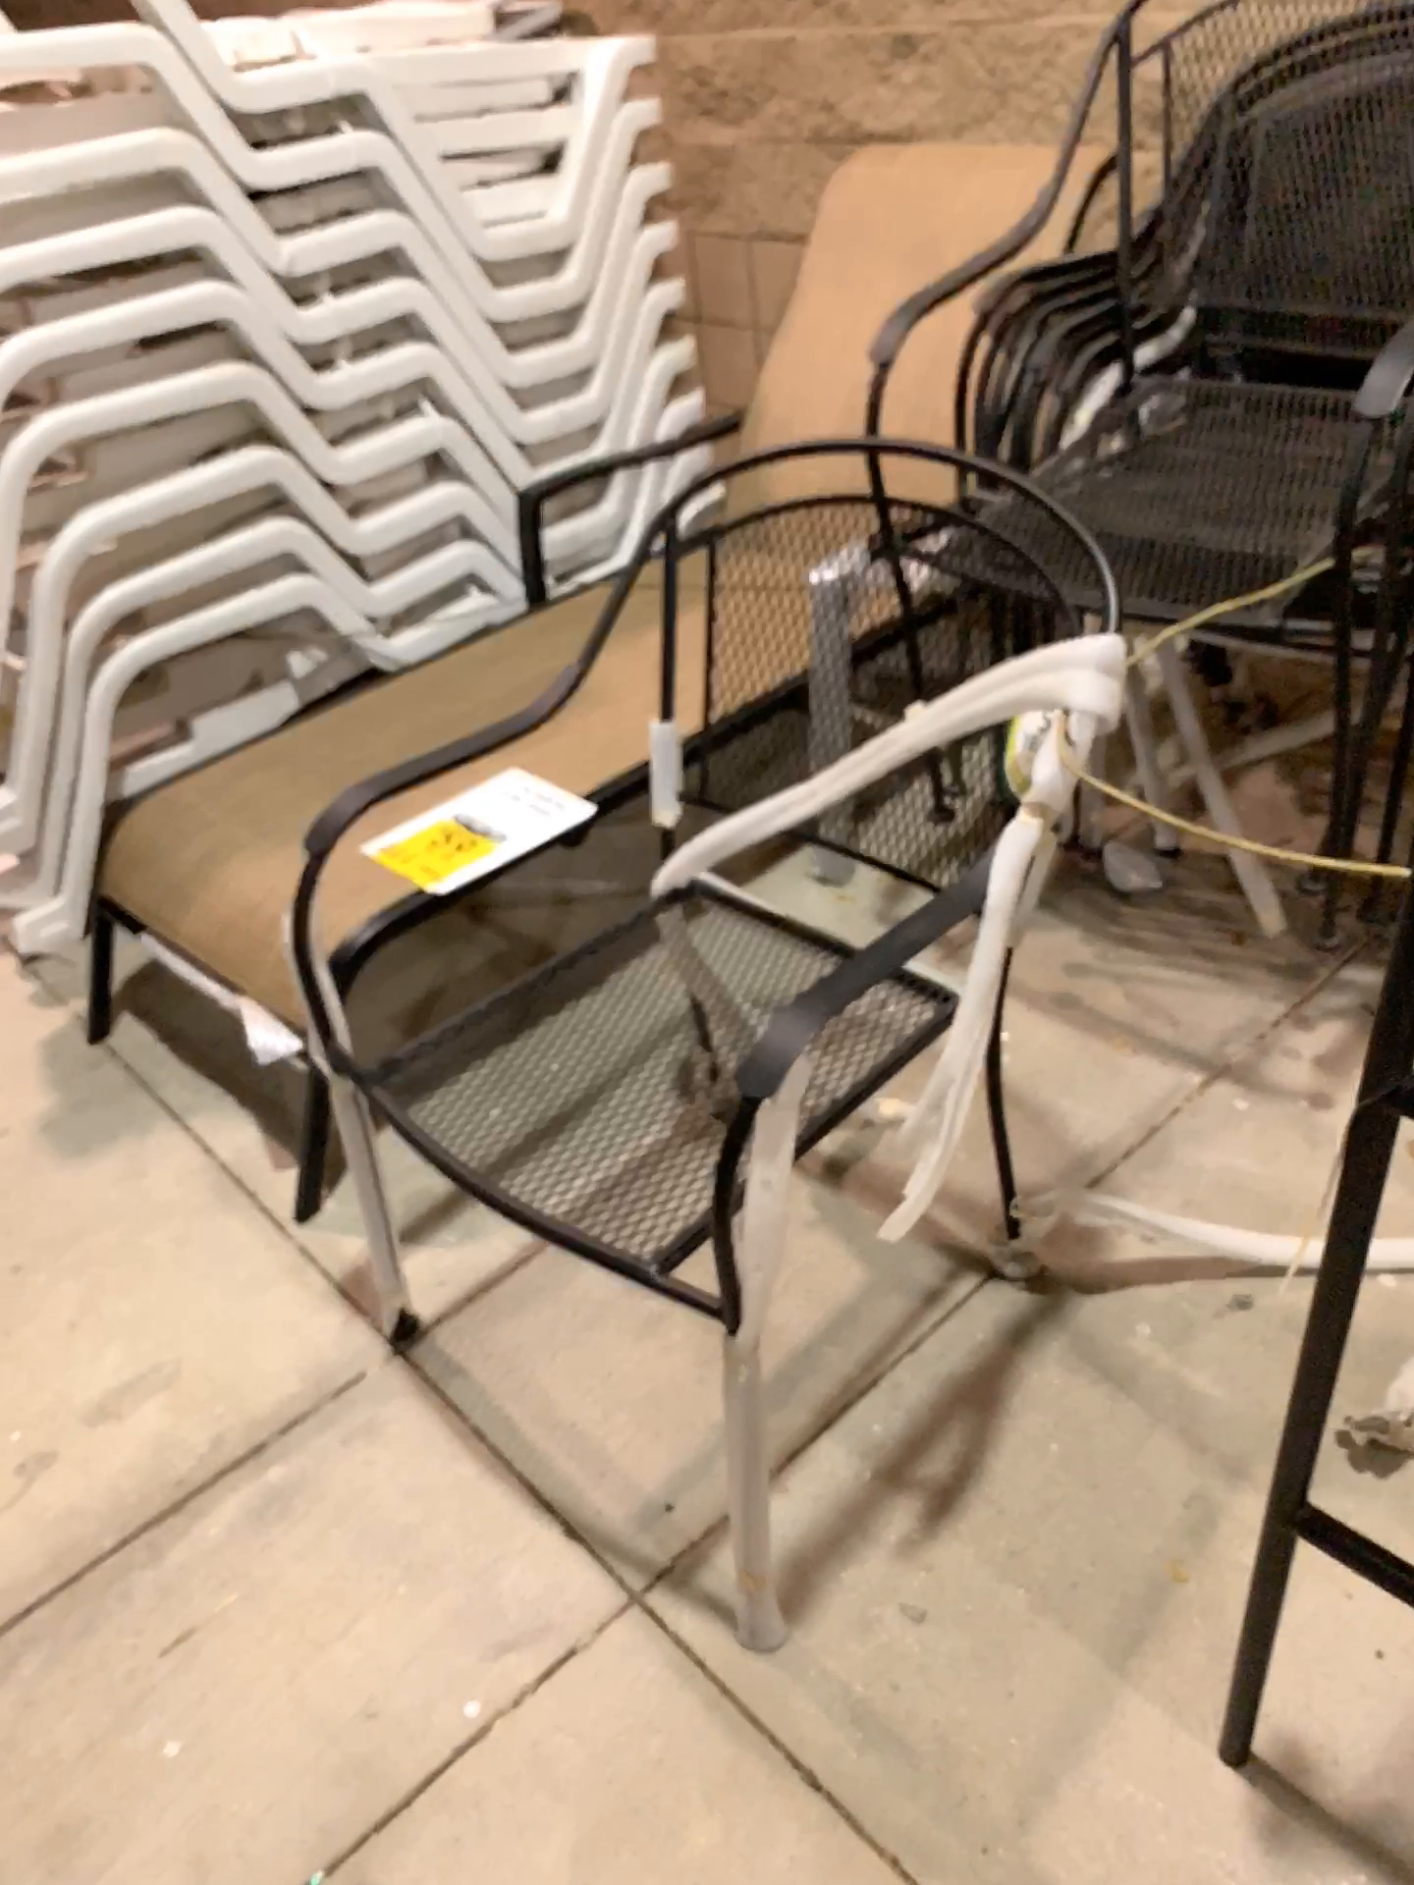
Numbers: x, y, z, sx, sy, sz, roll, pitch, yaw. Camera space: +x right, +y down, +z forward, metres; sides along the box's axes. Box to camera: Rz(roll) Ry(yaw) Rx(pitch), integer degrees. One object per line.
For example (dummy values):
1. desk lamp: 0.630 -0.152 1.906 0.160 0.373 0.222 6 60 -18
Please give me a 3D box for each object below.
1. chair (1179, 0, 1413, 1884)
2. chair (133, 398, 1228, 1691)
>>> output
1. chair: 0.809 0.152 0.864 0.709 1.128 0.637 -31 41 -32
2. chair: 0.023 0.047 1.380 0.576 0.869 0.639 24 44 37
